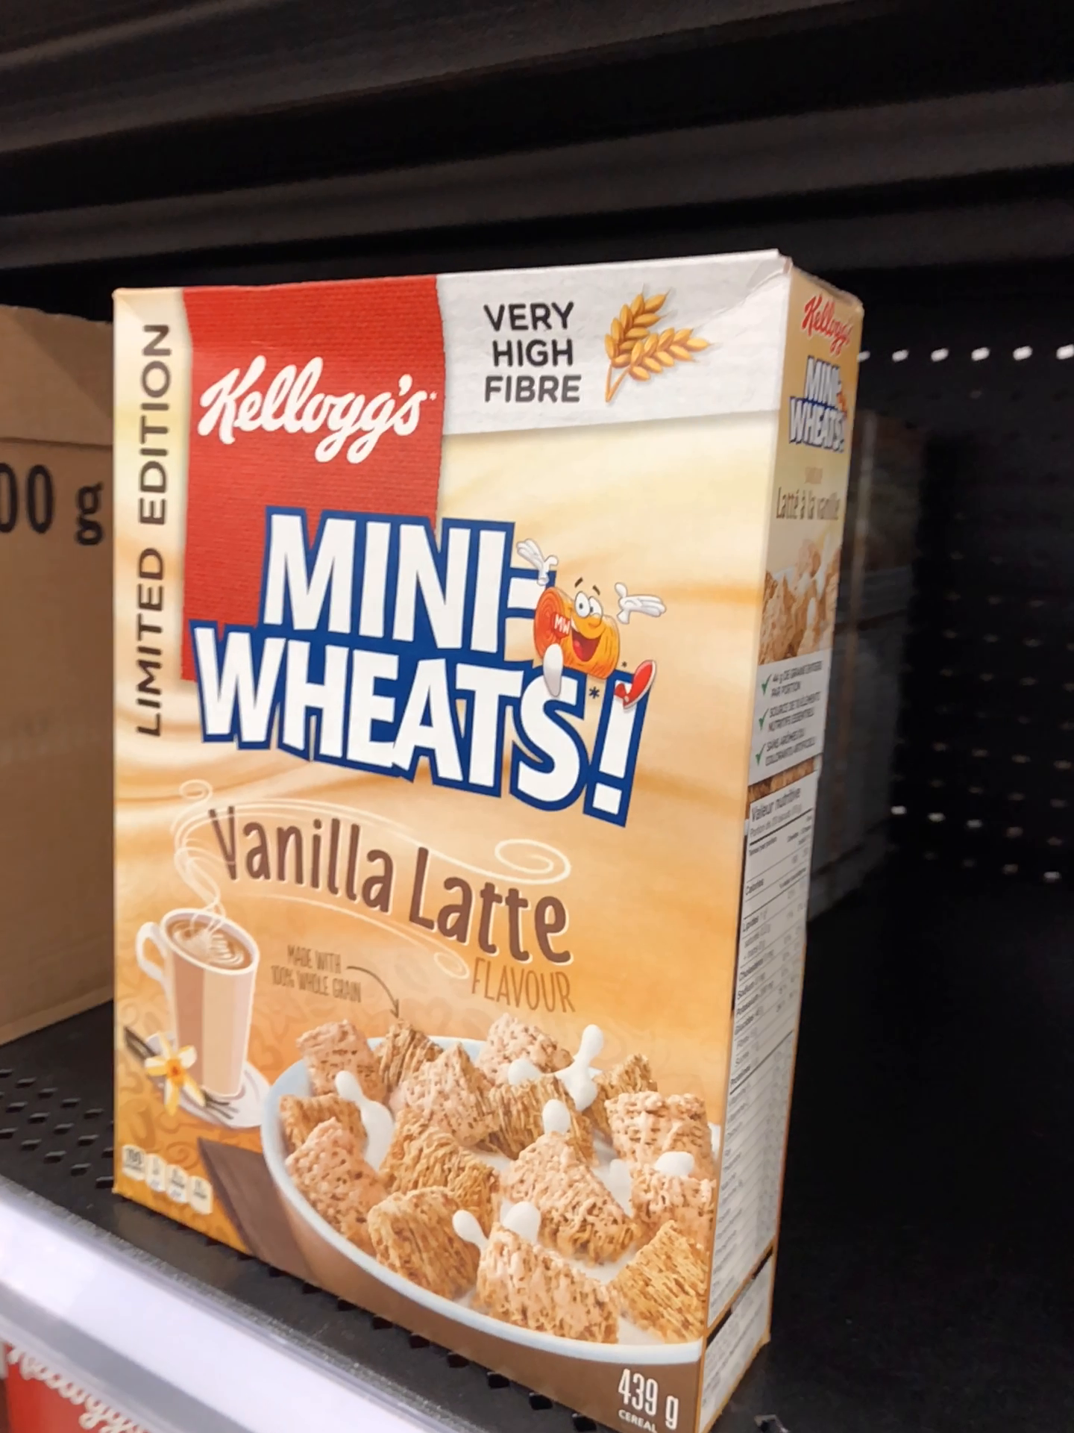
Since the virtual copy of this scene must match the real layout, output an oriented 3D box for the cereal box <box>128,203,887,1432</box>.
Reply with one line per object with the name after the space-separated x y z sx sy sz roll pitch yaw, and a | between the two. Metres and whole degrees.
-0.021 0.024 0.322 0.190 0.279 0.060 8 10 31 | cereal box
